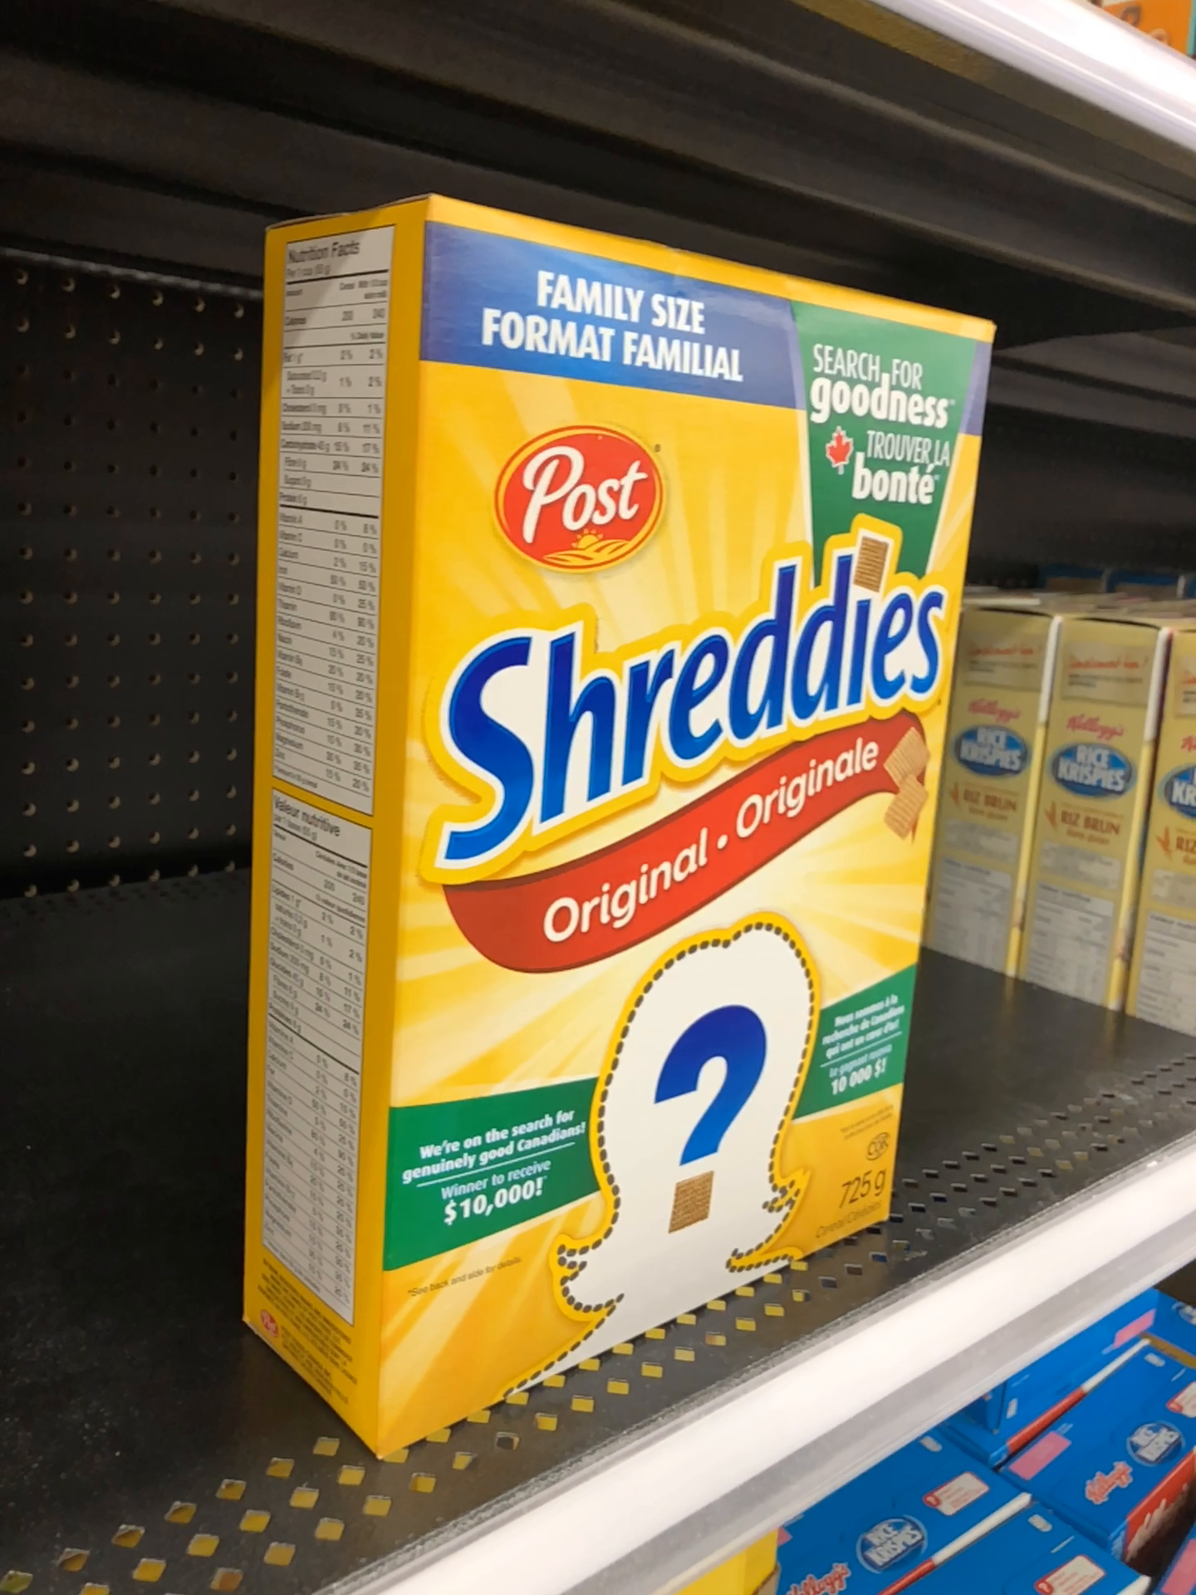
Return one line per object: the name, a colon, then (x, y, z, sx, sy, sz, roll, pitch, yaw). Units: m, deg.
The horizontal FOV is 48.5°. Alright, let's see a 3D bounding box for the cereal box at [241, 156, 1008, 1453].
cereal box: (0.012, -0.002, 0.383, 0.210, 0.289, 0.070, -6, 15, -41)
